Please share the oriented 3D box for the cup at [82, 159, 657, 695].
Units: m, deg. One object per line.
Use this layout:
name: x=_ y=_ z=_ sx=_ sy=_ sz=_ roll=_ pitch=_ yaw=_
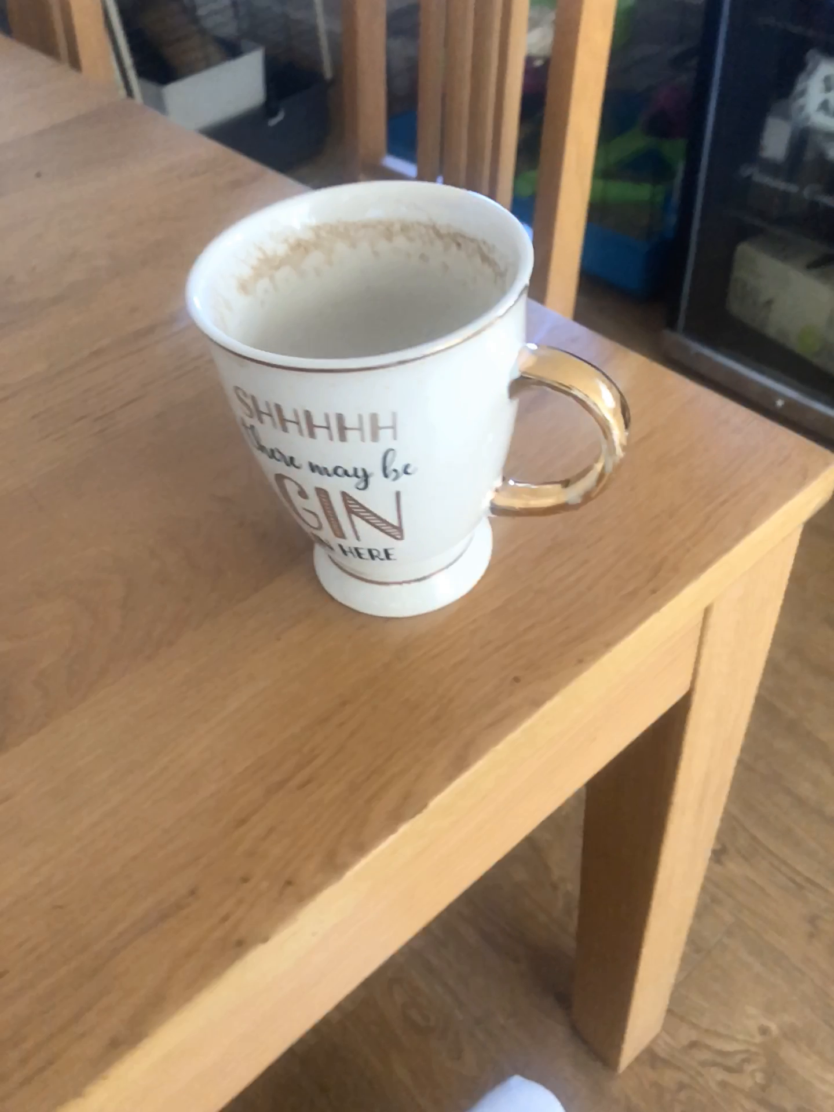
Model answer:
cup: x=-0.006 y=-0.047 z=0.309 sx=0.134 sy=0.111 sz=0.109 roll=15 pitch=50 yaw=20
